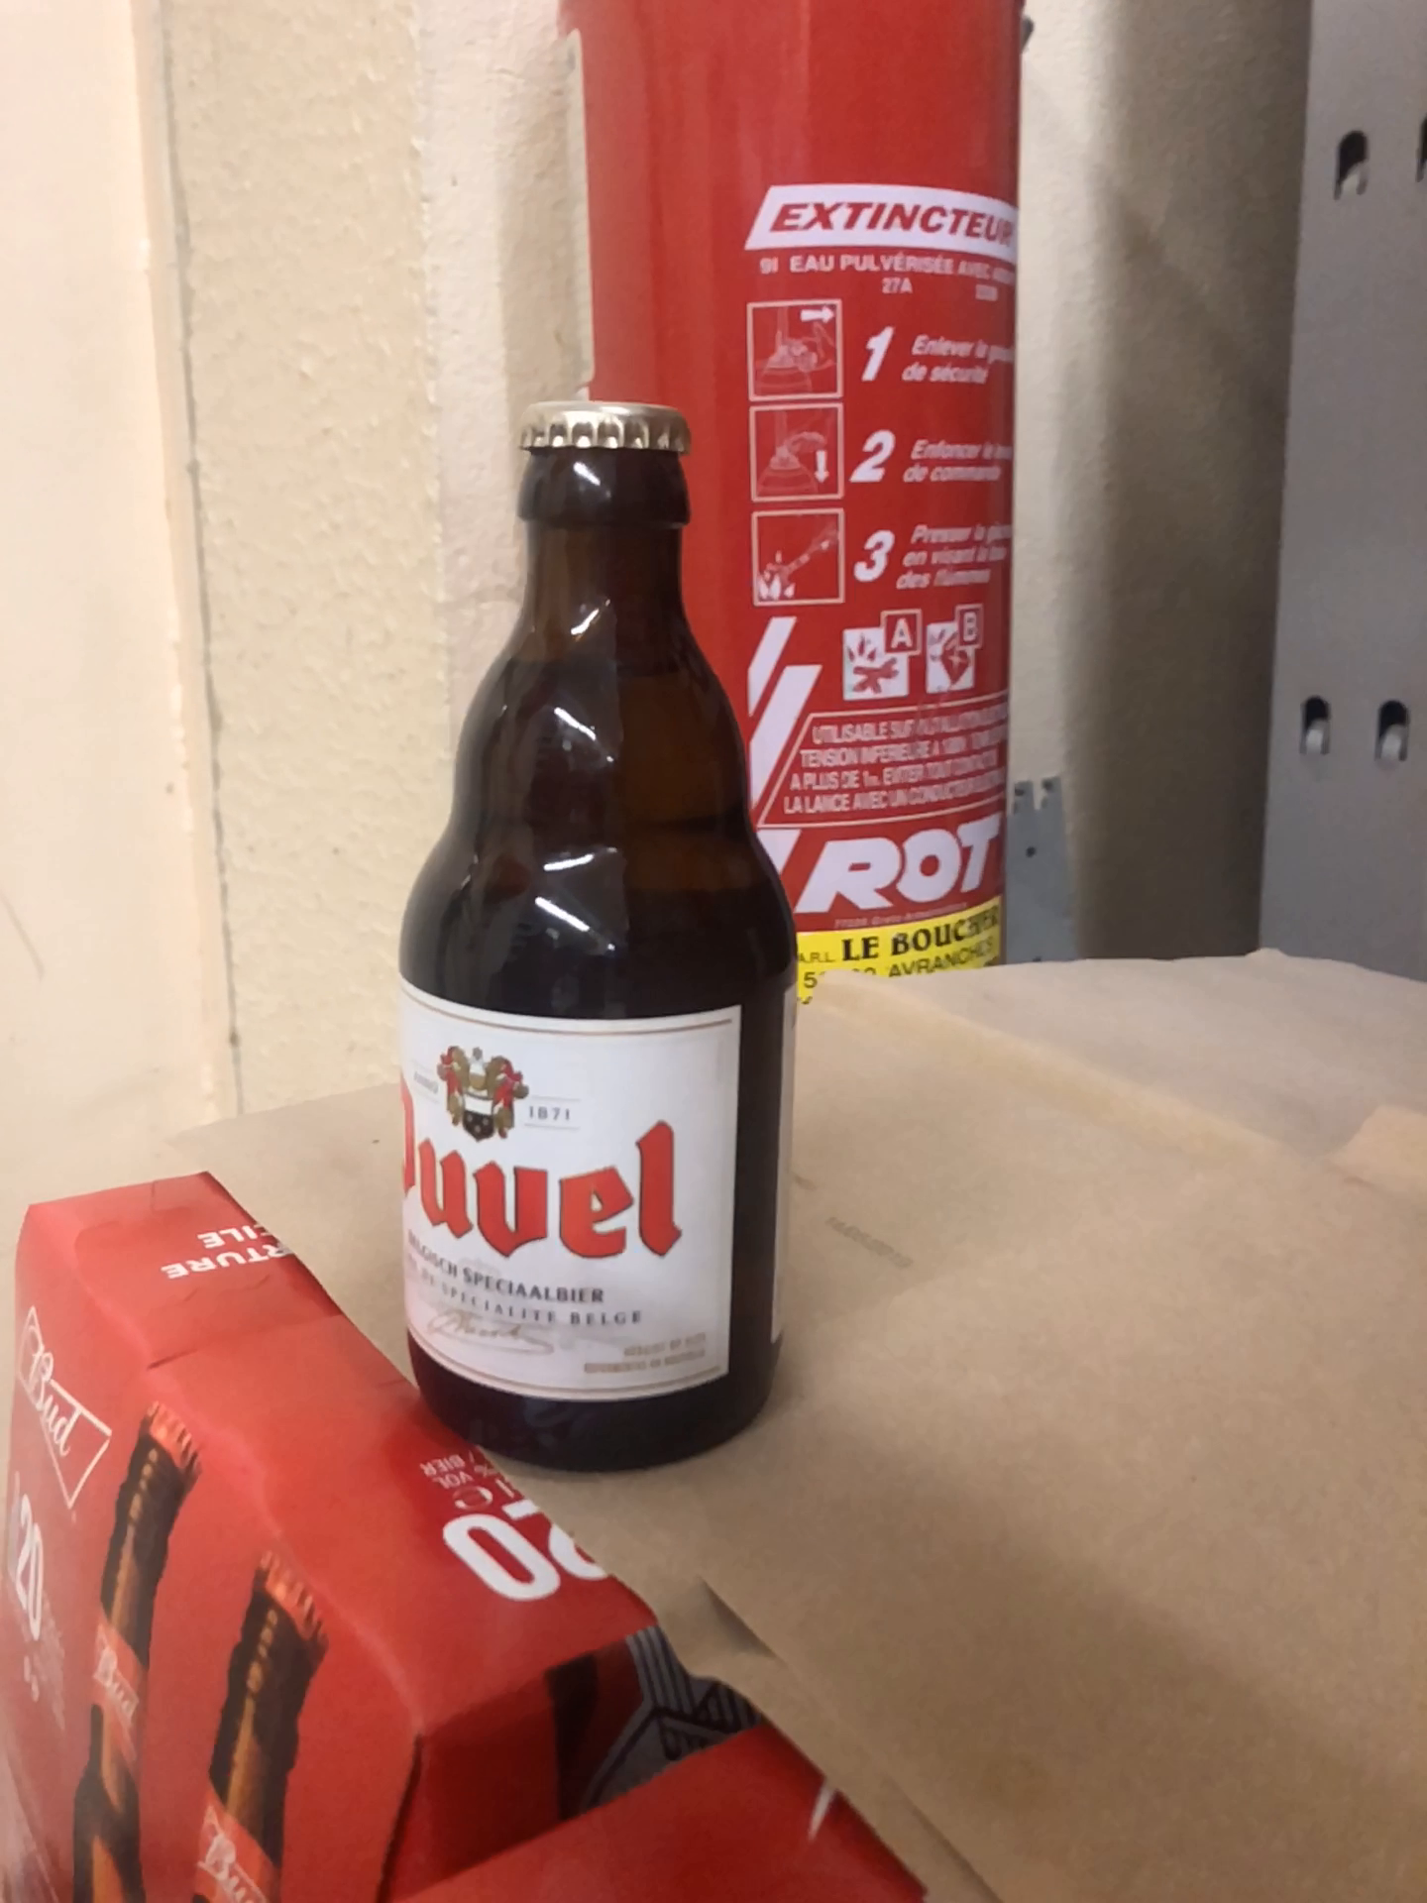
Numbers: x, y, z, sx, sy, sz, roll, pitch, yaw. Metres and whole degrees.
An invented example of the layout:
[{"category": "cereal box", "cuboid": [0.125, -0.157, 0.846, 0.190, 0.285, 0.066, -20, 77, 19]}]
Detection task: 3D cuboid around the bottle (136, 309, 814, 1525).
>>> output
[{"category": "bottle", "cuboid": [-0.036, -0.009, 0.267, 0.080, 0.169, 0.070, 8, 15, 38]}]
